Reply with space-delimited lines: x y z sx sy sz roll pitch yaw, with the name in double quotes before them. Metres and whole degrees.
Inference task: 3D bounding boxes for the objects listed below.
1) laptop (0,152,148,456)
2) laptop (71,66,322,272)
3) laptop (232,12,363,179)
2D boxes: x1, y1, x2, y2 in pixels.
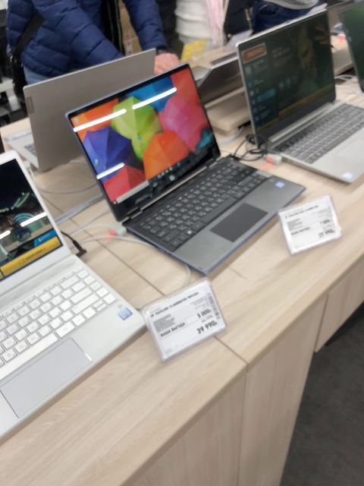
"laptop" -0.278 0.048 0.588 0.324 0.171 0.293 32 50 32
"laptop" 0.029 -0.176 0.813 0.327 0.194 0.327 30 51 32
"laptop" 0.375 -0.380 0.988 0.352 0.218 0.330 -34 50 -30
